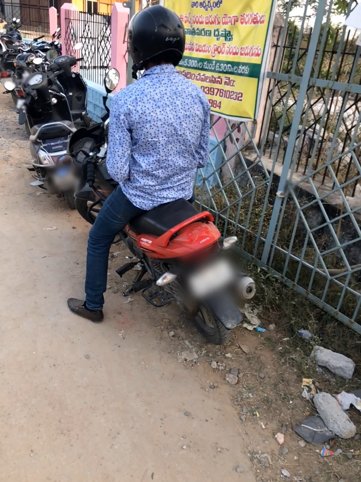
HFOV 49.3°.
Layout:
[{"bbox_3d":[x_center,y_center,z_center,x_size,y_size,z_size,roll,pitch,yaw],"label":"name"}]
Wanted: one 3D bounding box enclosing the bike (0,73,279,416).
[{"bbox_3d":[-0.430,-0.157,2.235,0.583,1.176,1.694,-16,36,-36],"label":"bike"}]
